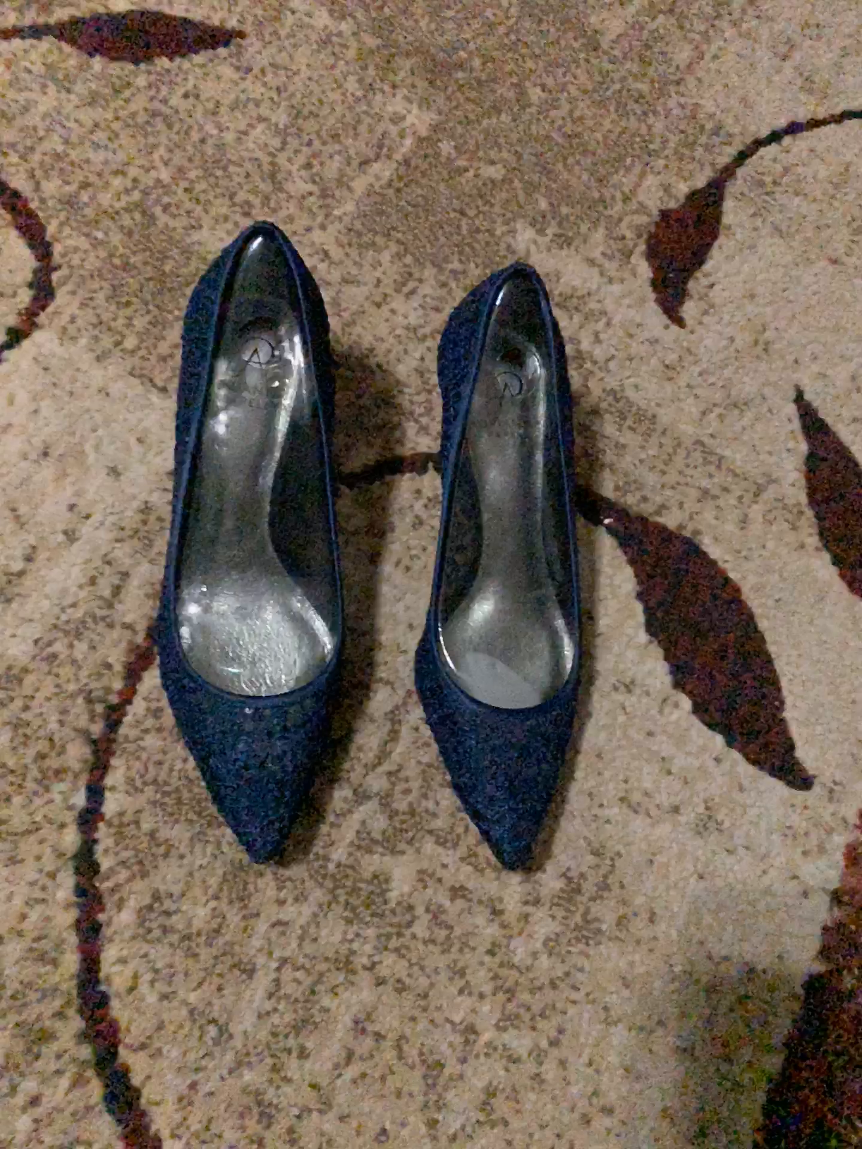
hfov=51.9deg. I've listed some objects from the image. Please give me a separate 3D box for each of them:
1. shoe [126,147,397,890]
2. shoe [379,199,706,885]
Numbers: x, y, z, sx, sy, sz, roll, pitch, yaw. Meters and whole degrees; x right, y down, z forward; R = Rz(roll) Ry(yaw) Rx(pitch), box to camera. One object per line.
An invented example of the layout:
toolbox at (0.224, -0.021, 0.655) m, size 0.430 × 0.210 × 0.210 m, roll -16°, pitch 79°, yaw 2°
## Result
shoe at (-0.076, -0.026, 0.377) m, size 0.088 × 0.089 × 0.293 m, roll -1°, pitch 73°, yaw -13°
shoe at (0.037, -0.017, 0.396) m, size 0.088 × 0.089 × 0.284 m, roll -1°, pitch 73°, yaw -13°
